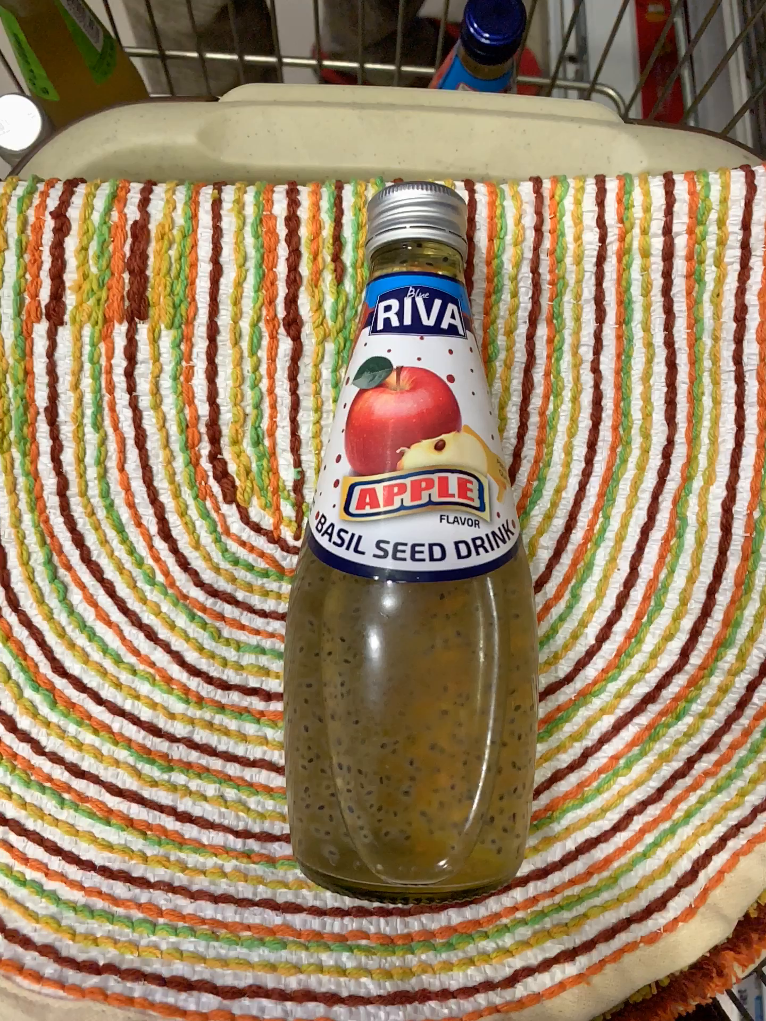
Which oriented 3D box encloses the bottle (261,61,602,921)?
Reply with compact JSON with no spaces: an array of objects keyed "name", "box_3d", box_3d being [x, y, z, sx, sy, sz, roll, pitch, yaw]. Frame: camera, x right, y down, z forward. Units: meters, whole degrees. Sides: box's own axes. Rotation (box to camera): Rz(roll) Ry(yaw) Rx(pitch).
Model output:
[{"name":"bottle","box_3d":[0.011,-0.010,0.206,0.070,0.050,0.200,1,79,0]}]
